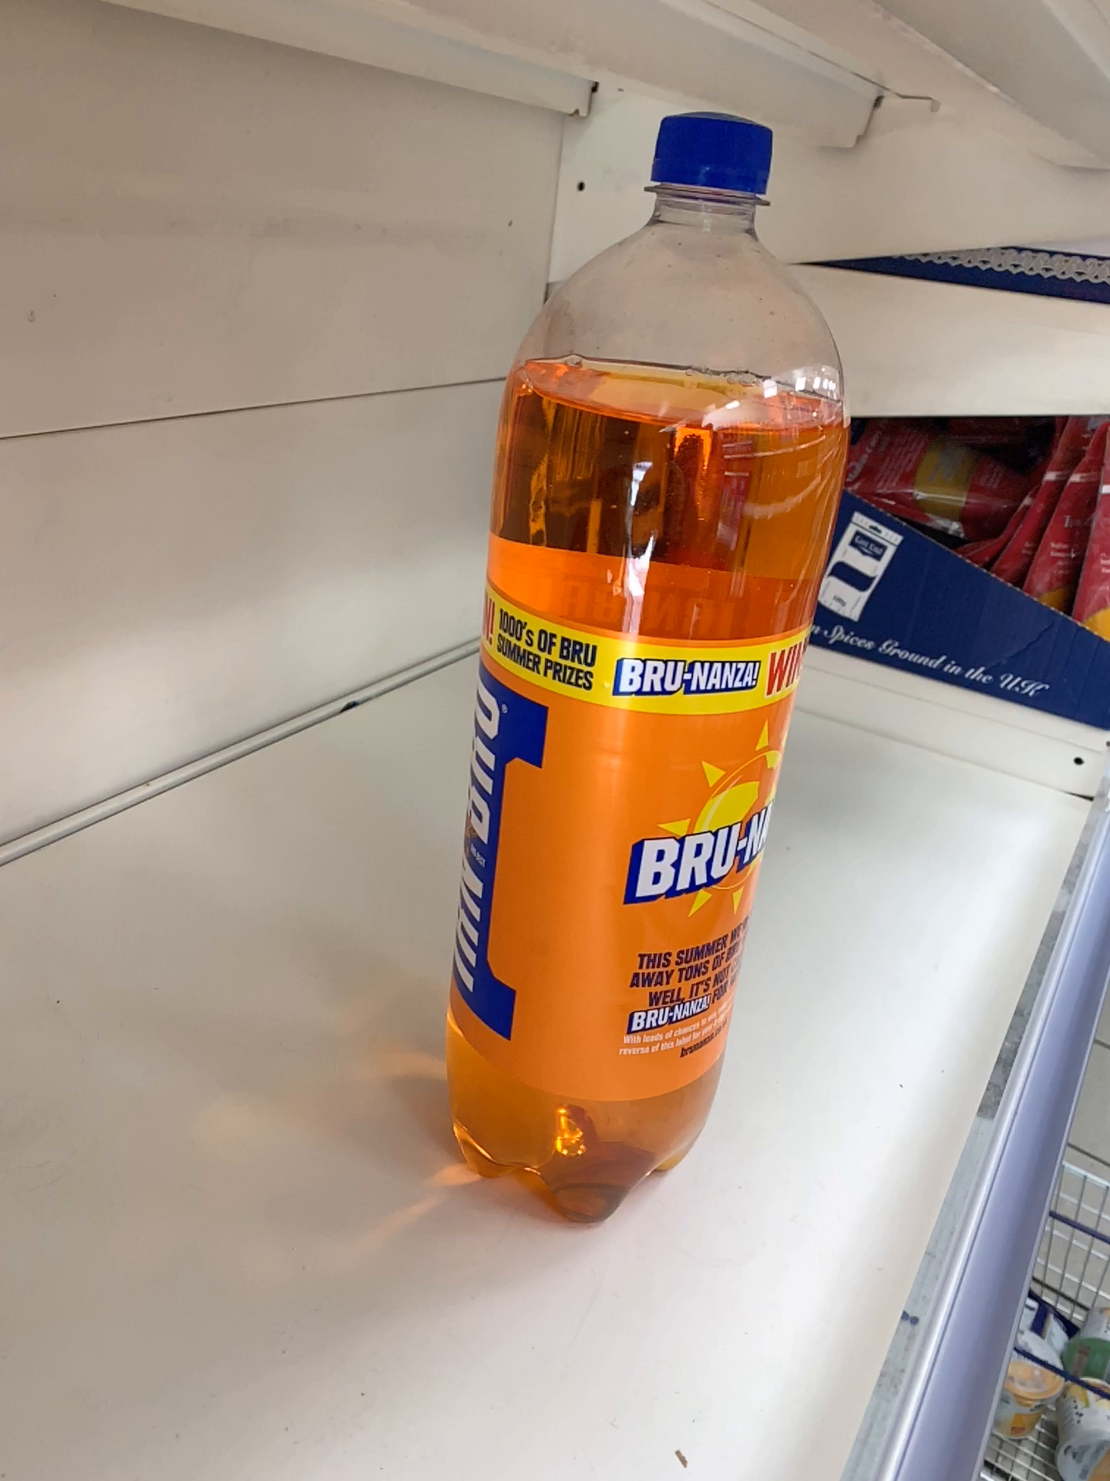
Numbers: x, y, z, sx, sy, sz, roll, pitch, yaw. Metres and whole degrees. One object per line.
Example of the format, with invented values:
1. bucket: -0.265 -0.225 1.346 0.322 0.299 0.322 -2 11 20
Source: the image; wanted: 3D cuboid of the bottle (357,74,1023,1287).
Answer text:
1. bottle: 0.023 -0.011 0.358 0.110 0.327 0.111 6 25 -3
